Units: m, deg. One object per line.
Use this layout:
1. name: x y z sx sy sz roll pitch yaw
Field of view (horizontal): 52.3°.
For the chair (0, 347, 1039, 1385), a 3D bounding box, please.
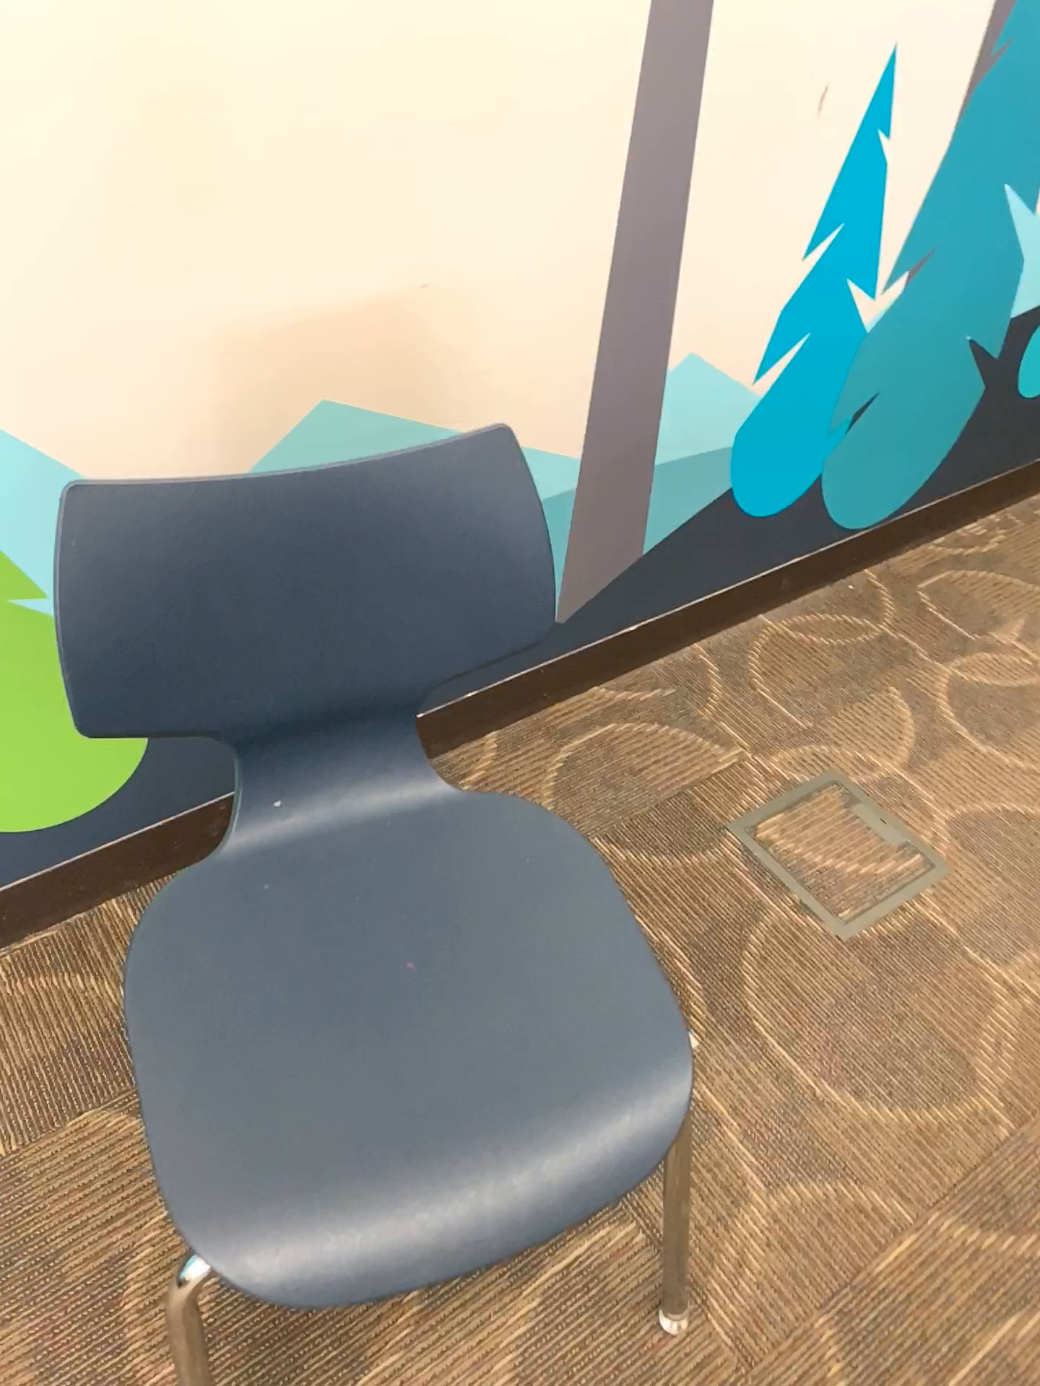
1. chair: -0.122 0.219 0.895 0.570 0.747 0.582 -13 45 -19
